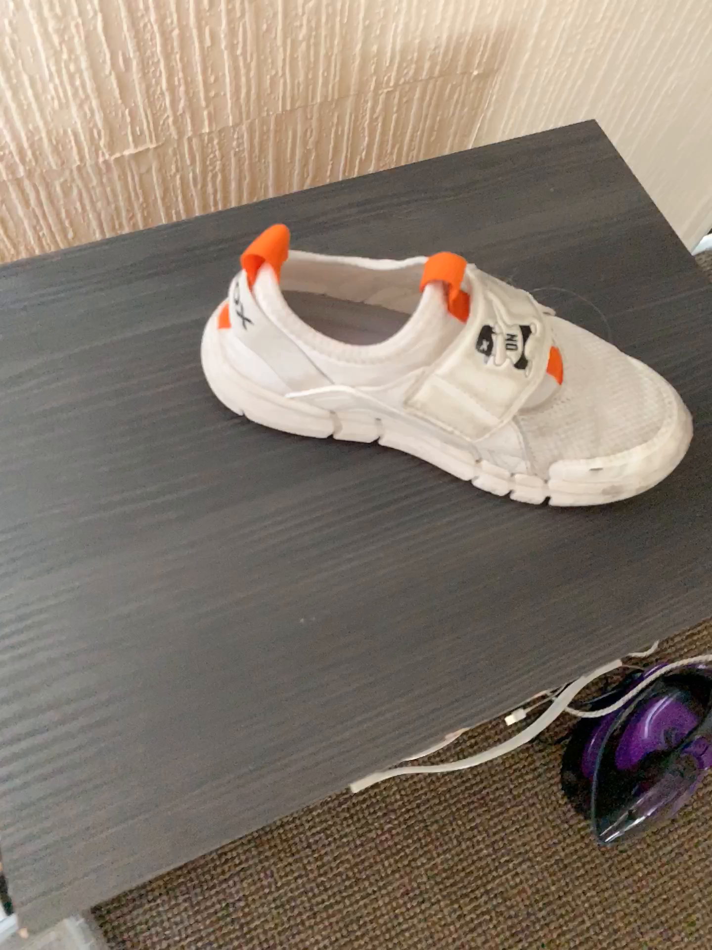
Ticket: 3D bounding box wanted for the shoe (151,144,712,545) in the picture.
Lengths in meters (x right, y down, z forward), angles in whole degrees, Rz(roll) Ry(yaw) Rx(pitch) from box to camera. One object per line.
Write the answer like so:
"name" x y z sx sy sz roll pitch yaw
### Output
"shoe" 0.038 -0.056 0.326 0.222 0.070 0.100 16 65 1
